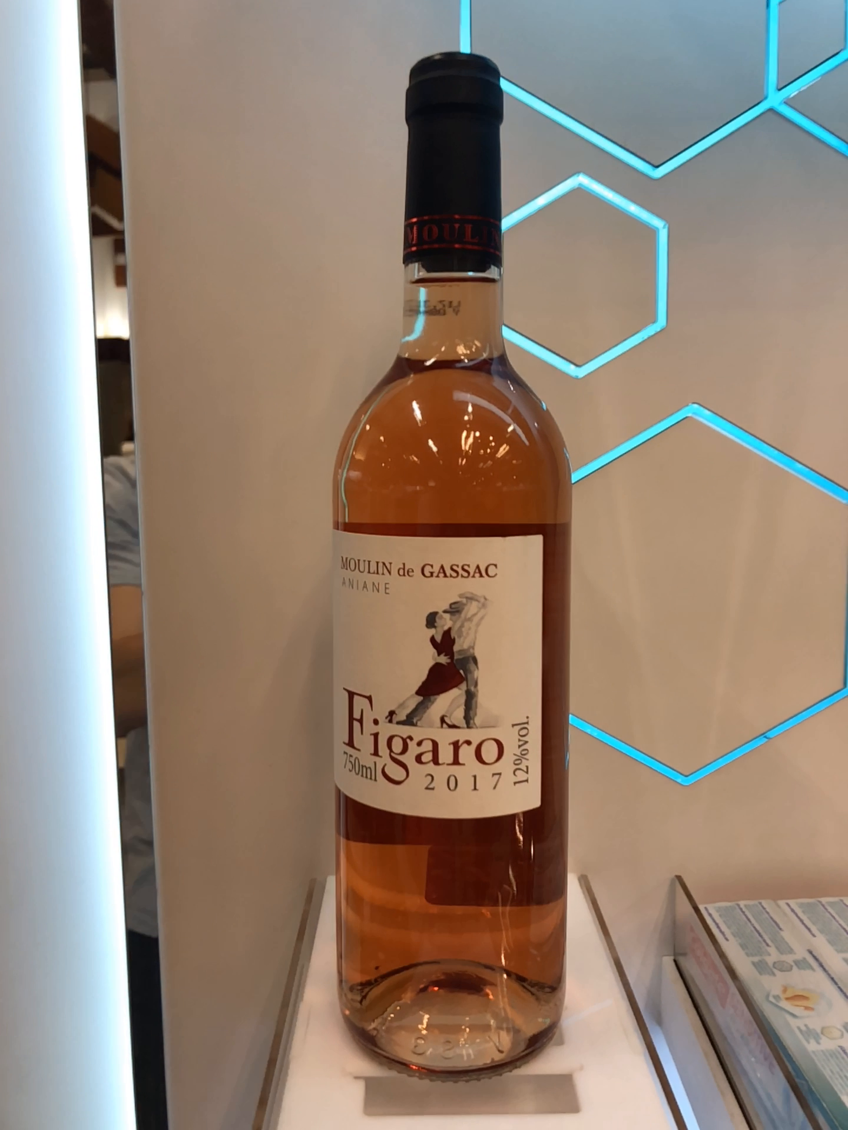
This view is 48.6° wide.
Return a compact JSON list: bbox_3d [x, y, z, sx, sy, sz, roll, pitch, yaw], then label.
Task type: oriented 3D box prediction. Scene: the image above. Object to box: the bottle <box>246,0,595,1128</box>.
[{"bbox_3d":[0.004,-0.002,0.311,0.090,0.319,0.080,1,5,19],"label":"bottle"}]
